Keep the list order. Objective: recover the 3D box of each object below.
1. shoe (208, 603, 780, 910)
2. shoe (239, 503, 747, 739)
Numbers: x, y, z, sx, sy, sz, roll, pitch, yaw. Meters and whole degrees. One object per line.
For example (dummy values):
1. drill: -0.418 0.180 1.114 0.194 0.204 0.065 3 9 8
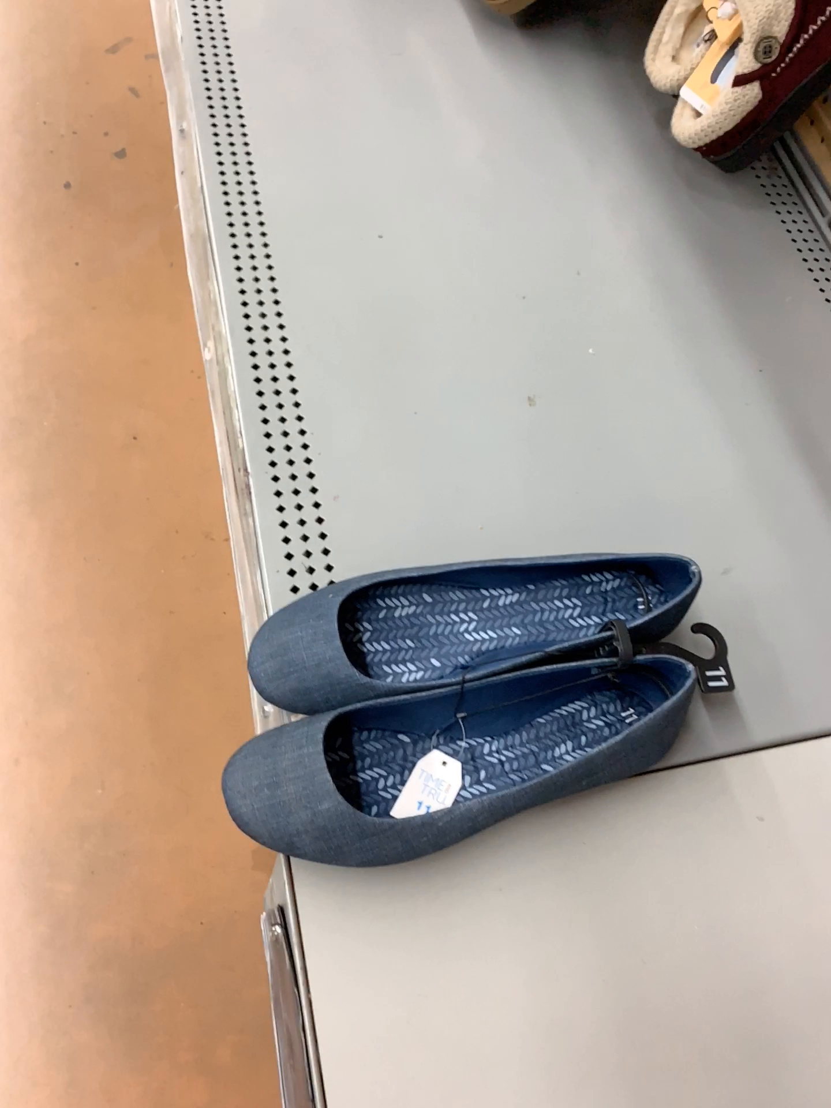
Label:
1. shoe: 0.037 0.108 0.470 0.280 0.090 0.090 -7 56 -13
2. shoe: 0.039 0.039 0.521 0.280 0.090 0.090 -4 58 -11
